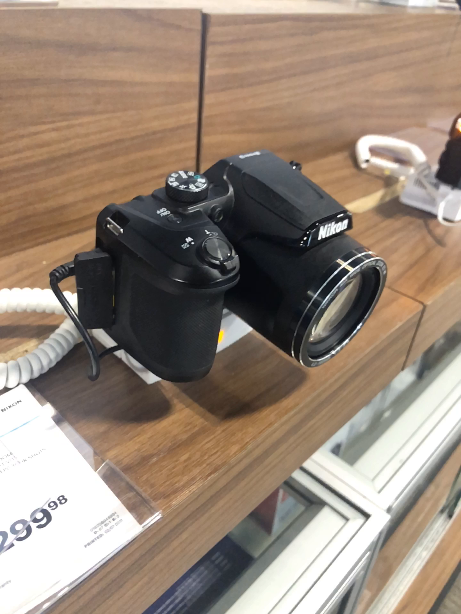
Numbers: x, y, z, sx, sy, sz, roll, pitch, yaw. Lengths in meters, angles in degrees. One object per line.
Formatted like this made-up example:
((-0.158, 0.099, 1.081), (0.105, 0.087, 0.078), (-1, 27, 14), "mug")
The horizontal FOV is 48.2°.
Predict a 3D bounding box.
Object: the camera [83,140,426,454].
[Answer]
((0.010, -0.017, 0.237), (0.096, 0.079, 0.110), (30, 41, 33), "camera")
